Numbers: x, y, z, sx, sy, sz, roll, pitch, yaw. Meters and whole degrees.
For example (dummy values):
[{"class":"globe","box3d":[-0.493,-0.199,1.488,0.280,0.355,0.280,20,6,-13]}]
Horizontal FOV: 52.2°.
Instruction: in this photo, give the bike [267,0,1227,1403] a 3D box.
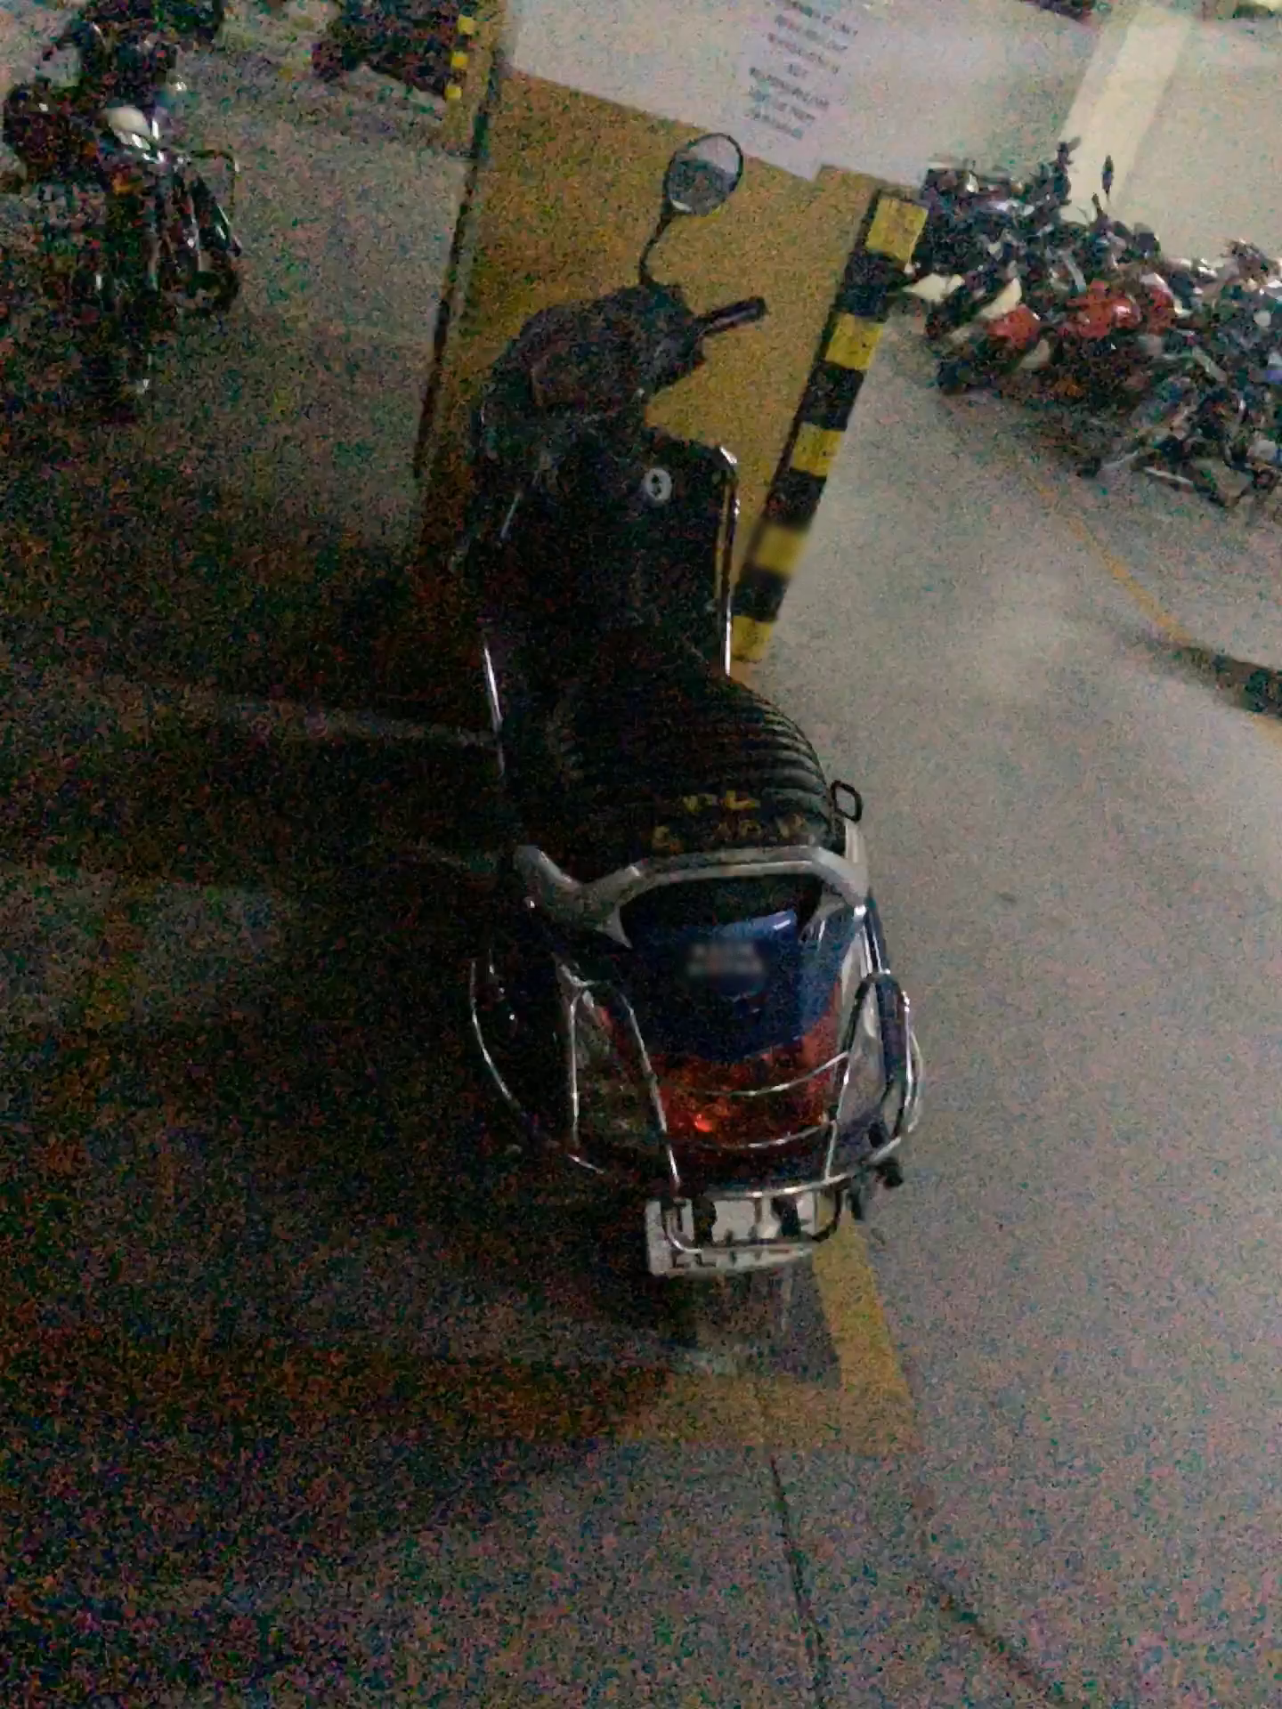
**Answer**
[{"class":"bike","box3d":[-0.067,-0.241,1.756,0.631,1.063,1.274,2,42,-24]}]
